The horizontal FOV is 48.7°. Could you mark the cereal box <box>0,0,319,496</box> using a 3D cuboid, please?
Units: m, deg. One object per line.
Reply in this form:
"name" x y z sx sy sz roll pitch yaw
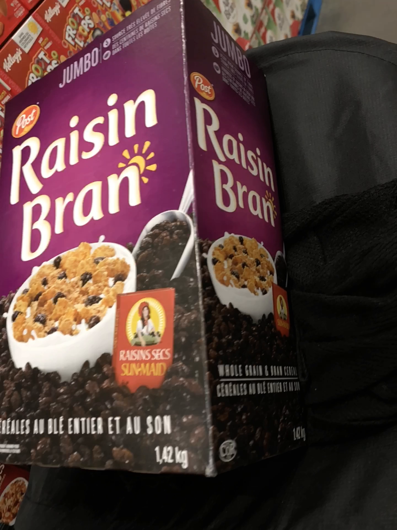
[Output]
"cereal box" -0.054 -0.011 0.325 0.211 0.109 0.290 -15 71 34
